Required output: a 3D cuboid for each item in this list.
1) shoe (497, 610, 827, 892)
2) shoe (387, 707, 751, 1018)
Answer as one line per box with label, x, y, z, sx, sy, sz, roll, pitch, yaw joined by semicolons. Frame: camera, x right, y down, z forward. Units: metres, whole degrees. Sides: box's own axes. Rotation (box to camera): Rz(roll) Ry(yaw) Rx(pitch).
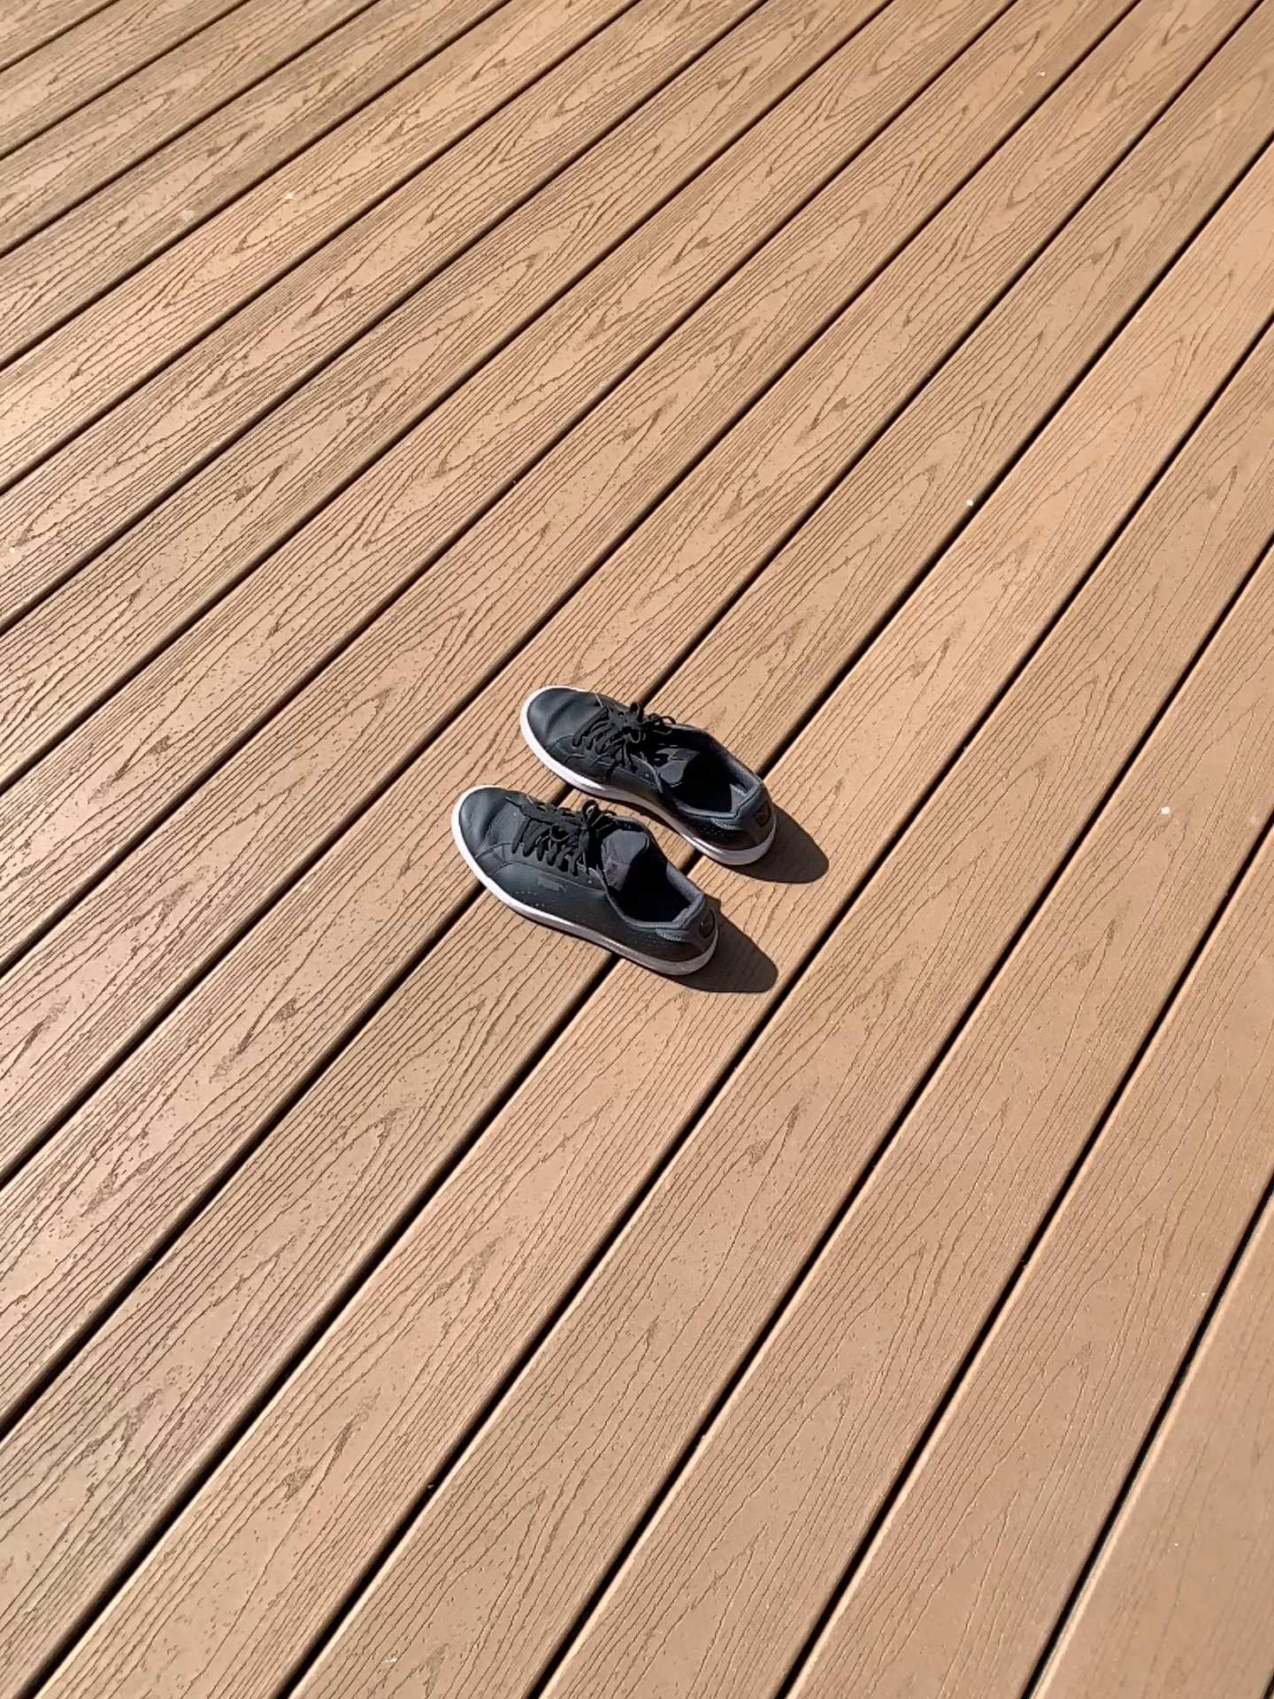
shoe;0.020;-0.093;1.211;0.280;0.104;0.110;30;65;13
shoe;-0.061;0.011;1.161;0.300;0.107;0.112;30;65;13
